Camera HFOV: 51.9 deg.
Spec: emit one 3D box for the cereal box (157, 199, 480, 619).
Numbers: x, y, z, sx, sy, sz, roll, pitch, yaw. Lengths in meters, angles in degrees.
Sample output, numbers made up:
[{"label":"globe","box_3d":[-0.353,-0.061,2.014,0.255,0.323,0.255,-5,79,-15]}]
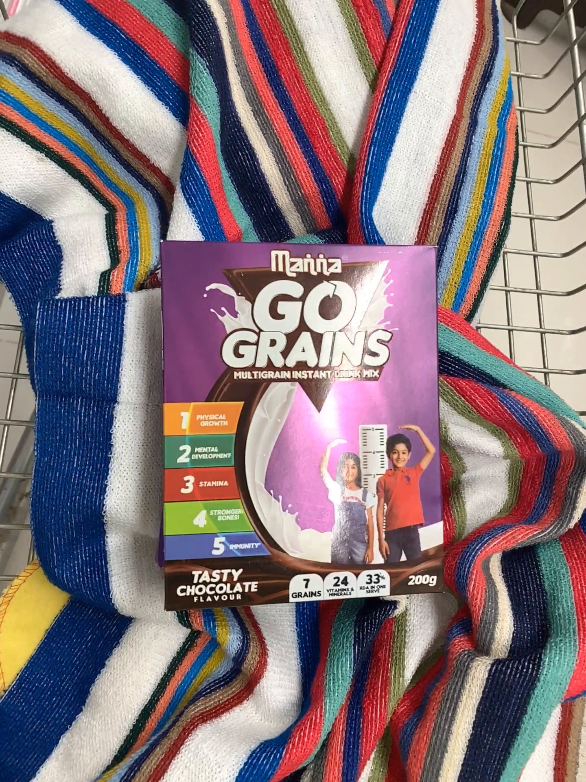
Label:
[{"label":"cereal box","box_3d":[0.010,0.007,0.281,0.140,0.050,0.170,0,91,-10]}]
